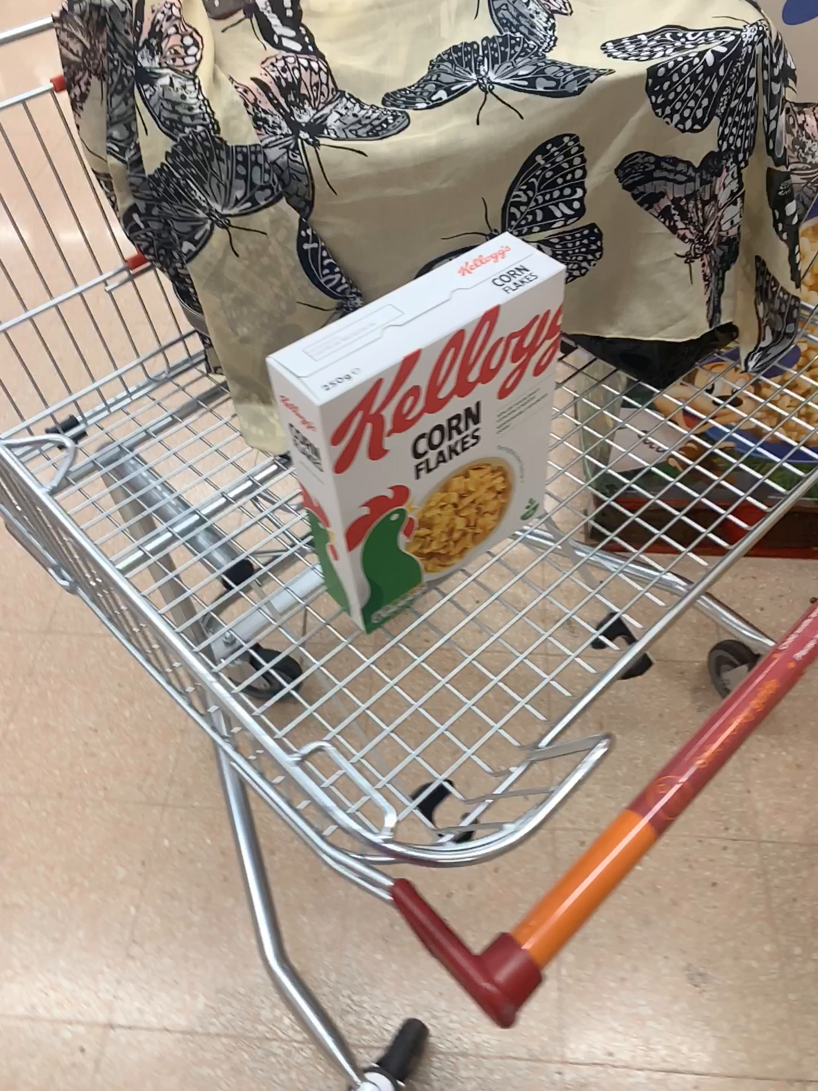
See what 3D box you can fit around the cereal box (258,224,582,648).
[{"bbox_3d":[0.015,-0.067,0.587,0.201,0.238,0.060,-34,57,-22],"label":"cereal box"}]
